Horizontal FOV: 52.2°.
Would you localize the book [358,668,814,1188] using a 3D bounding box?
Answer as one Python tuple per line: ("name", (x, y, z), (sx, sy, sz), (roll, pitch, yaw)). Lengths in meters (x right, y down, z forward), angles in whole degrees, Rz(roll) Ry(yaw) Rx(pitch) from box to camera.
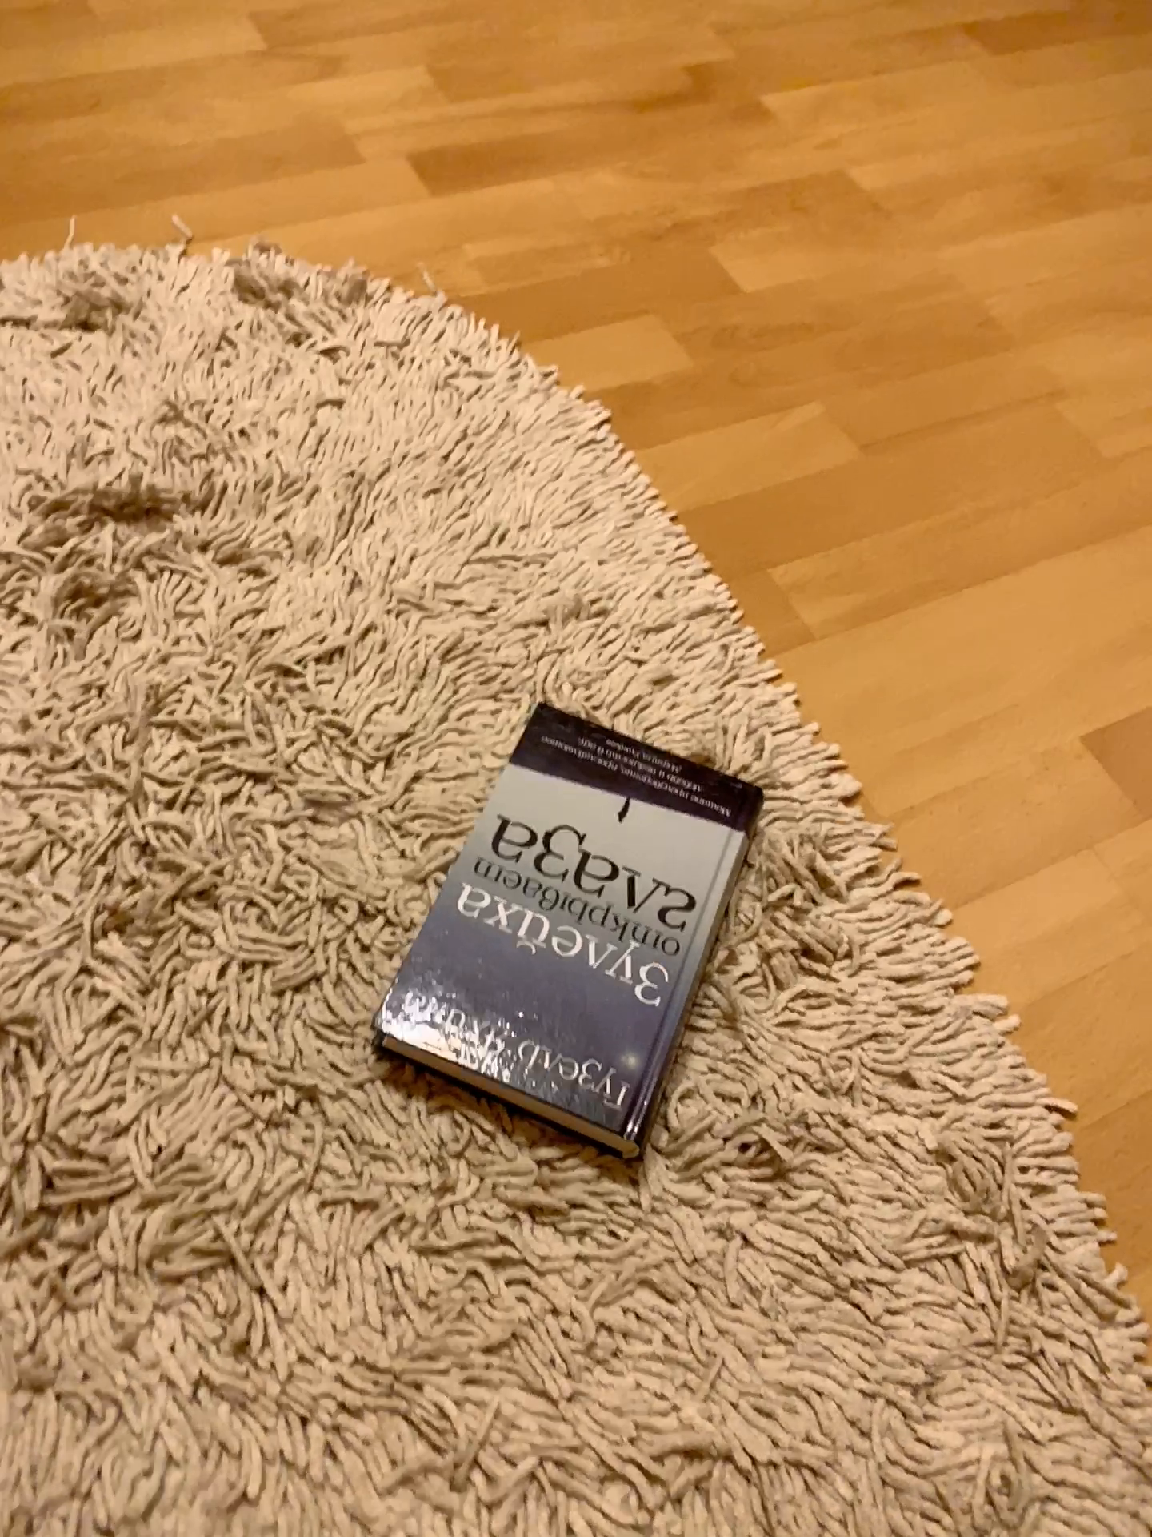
("book", (0.013, 0.066, 0.579), (0.150, 0.040, 0.221), (21, 56, 7))
